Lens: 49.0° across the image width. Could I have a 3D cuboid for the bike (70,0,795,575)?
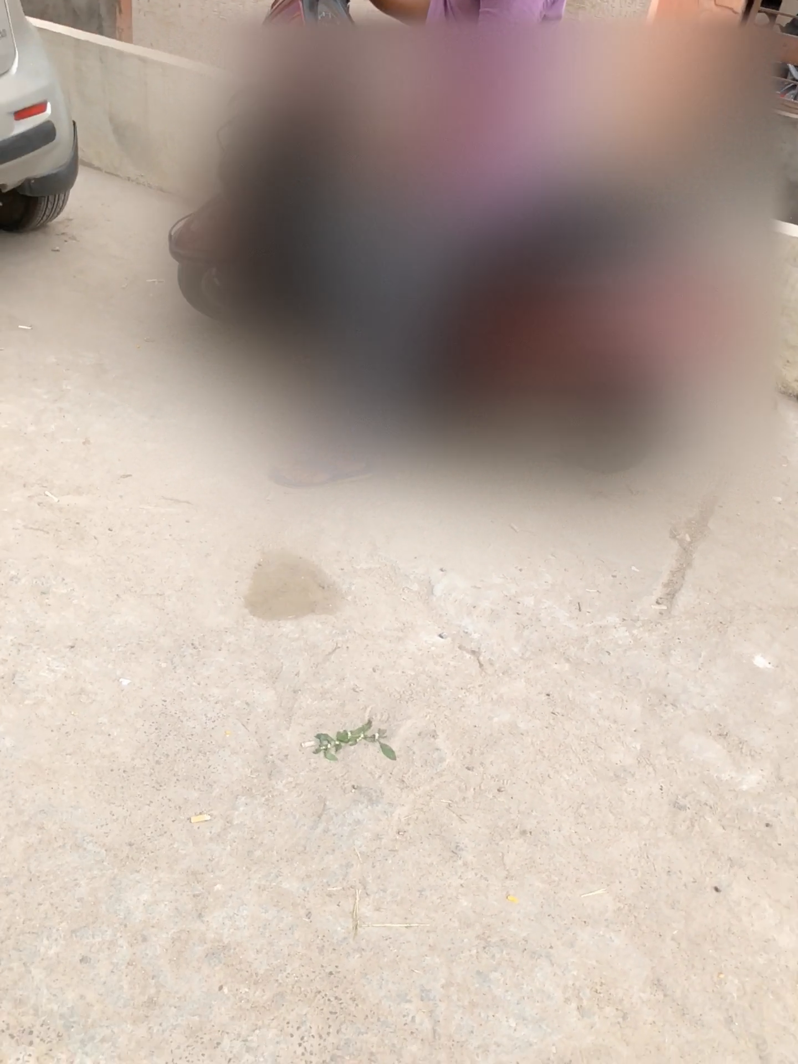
[{"bbox_3d":[-0.011,-0.764,2.305,1.576,1.072,0.633,23,38,18],"label":"bike"}]
